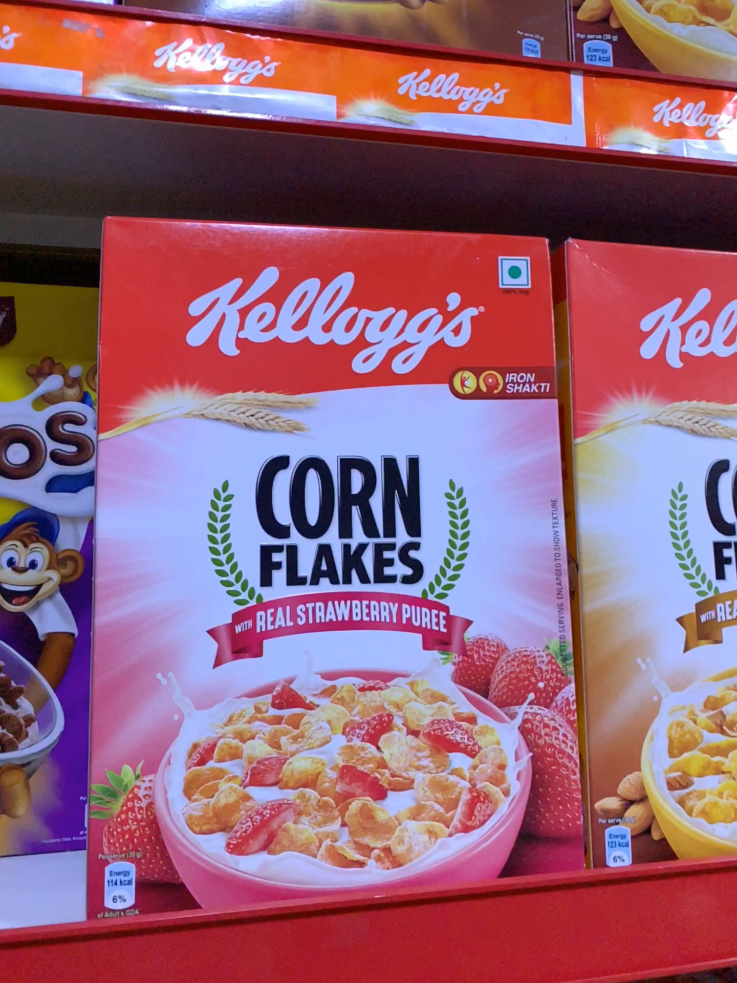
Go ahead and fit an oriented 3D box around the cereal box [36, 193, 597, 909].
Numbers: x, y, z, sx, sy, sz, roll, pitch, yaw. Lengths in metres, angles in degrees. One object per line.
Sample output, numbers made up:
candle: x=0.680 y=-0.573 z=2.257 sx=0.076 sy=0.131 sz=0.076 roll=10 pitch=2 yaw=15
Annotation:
cereal box: x=-0.018 y=0.017 z=0.303 sx=0.190 sy=0.241 sz=0.060 roll=1 pitch=-8 yaw=-10
